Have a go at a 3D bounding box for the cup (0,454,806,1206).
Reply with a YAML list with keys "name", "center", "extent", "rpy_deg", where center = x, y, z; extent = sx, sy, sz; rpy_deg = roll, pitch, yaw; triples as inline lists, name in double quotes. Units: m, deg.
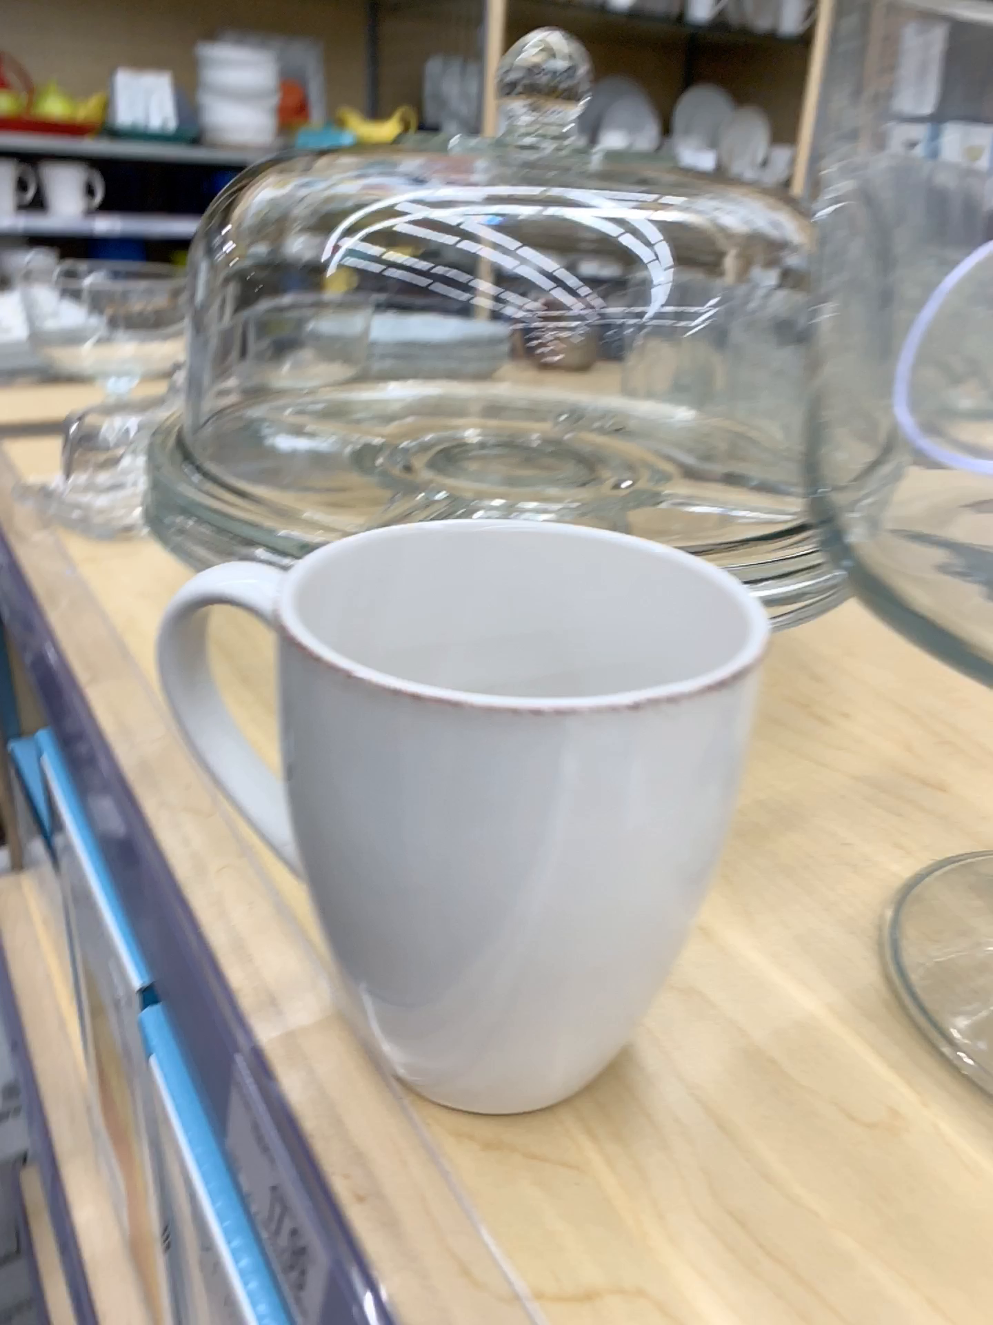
- name: "cup"
  center: [-0.013, 0.023, 0.223]
  extent: [0.130, 0.094, 0.096]
  rpy_deg: [12, 30, 17]
